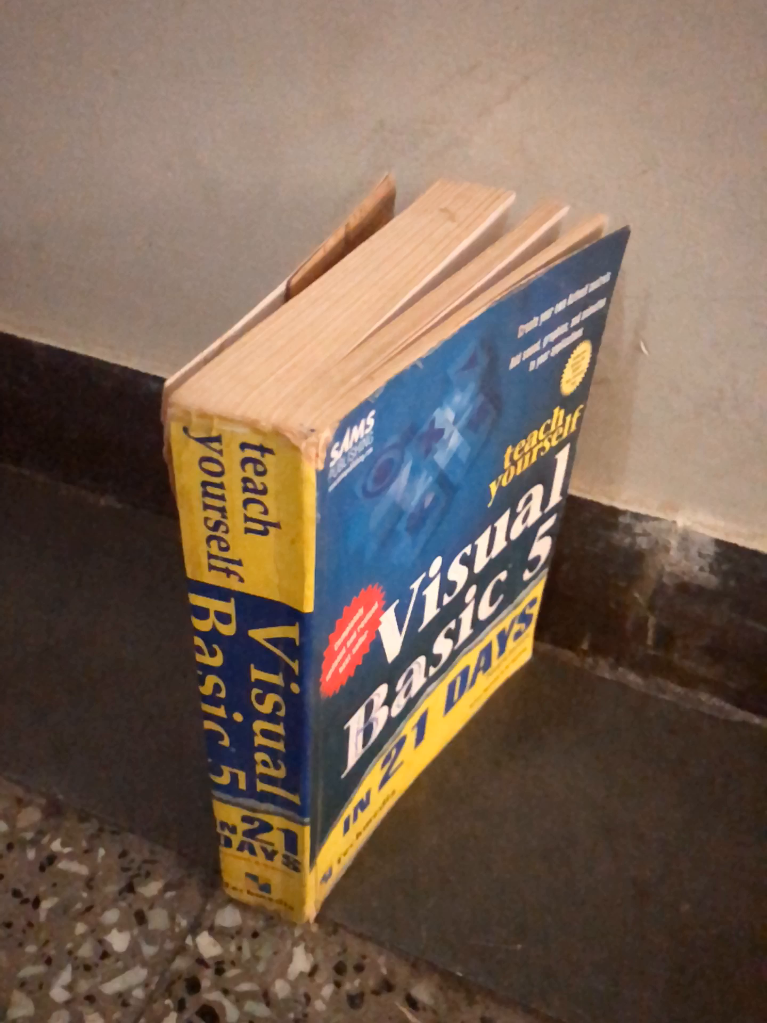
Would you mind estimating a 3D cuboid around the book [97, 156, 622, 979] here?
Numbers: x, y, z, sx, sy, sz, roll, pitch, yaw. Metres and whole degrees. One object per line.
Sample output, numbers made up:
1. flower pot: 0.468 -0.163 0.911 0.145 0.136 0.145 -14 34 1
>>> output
1. book: 0.015 0.007 0.352 0.060 0.229 0.251 18 40 22
